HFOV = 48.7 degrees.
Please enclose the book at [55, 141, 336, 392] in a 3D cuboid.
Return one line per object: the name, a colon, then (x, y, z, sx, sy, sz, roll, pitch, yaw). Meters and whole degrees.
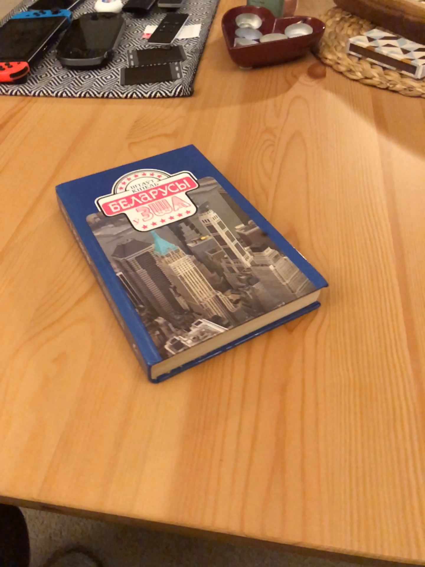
book: (-0.027, -0.036, 0.399, 0.146, 0.030, 0.225, -22, 51, -18)
